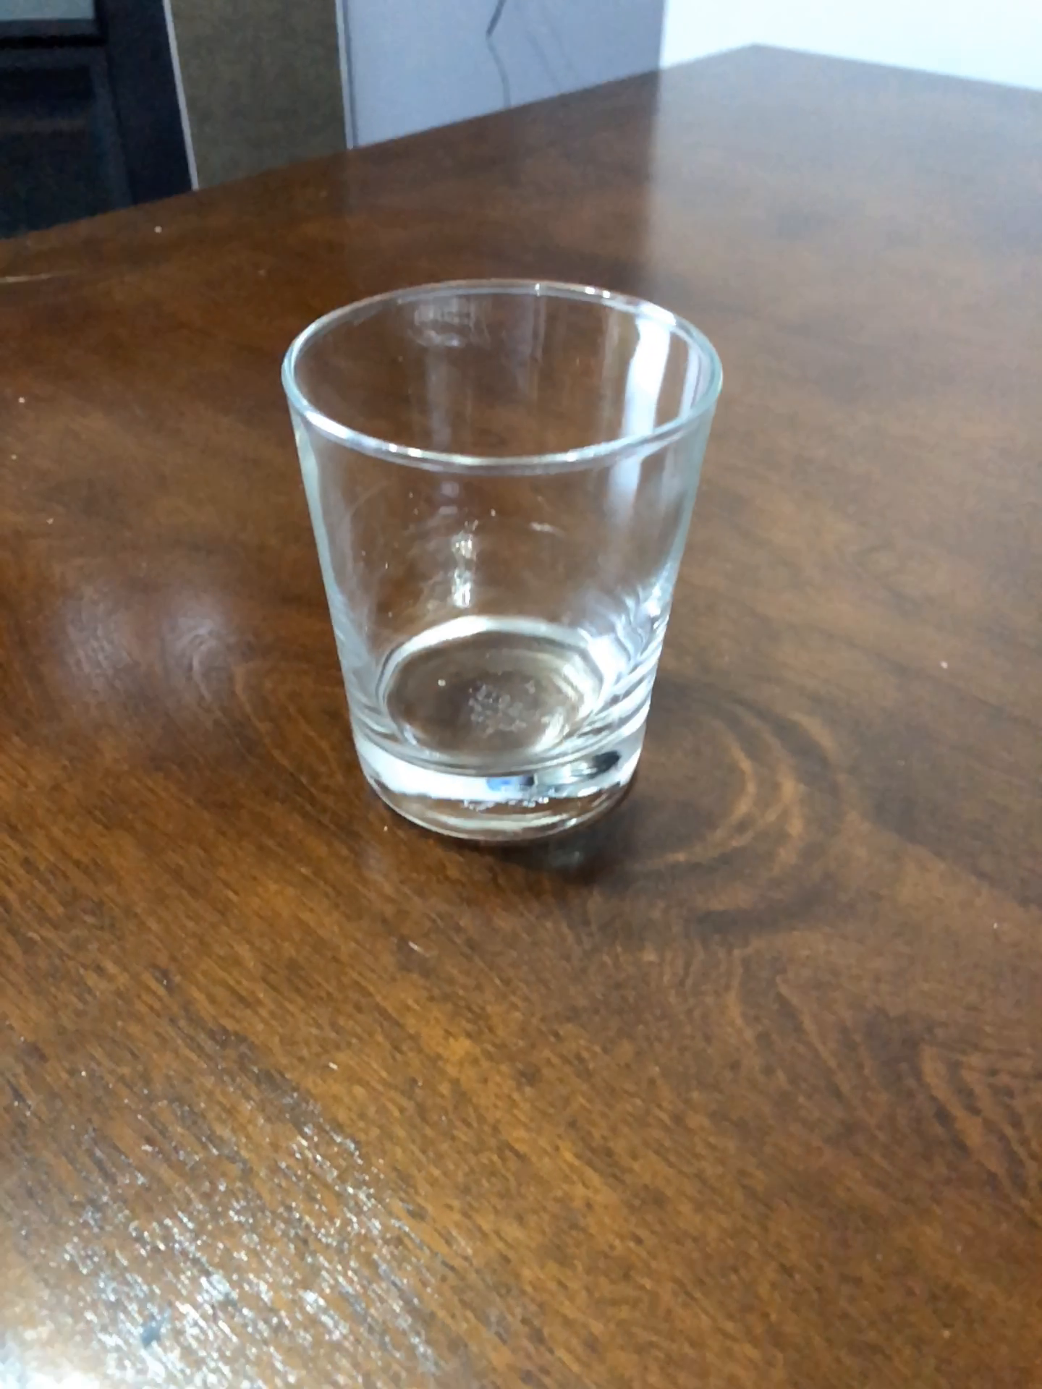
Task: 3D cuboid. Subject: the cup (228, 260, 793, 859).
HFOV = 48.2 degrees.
[{"bbox_3d":[-0.001,-0.031,0.249,0.090,0.090,0.090,1,39,-1],"label":"cup"}]
